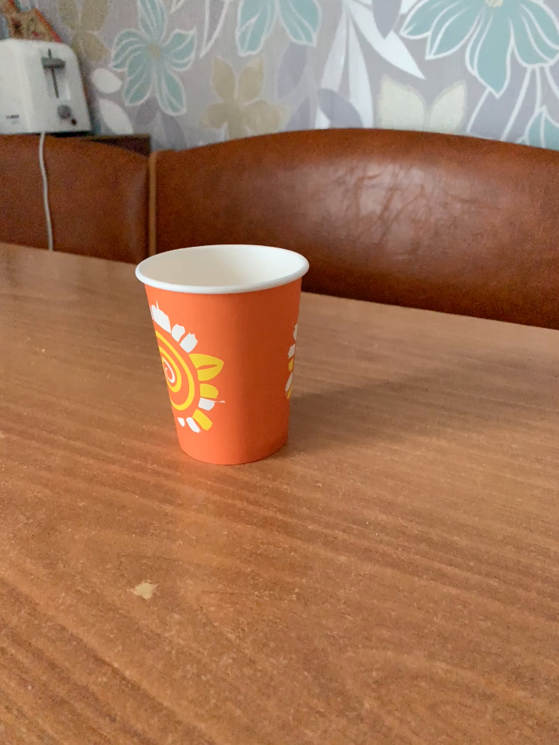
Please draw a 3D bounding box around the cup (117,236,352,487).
[{"bbox_3d":[-0.023,-0.013,0.281,0.079,0.083,0.082,-1,24,0],"label":"cup"}]
